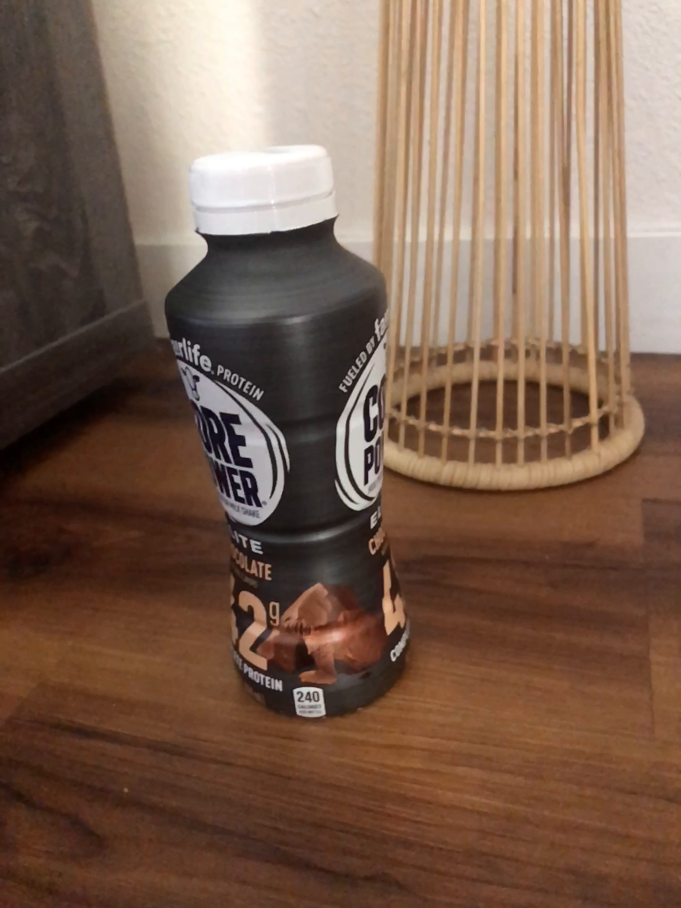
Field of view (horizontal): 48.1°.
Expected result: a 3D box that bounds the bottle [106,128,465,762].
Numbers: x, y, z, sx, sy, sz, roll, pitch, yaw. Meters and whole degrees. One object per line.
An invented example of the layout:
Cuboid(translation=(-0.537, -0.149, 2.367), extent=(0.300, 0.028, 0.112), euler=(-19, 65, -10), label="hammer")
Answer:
Cuboid(translation=(-0.011, -0.004, 0.253), extent=(0.070, 0.184, 0.070), euler=(-5, 26, 2), label="bottle")
